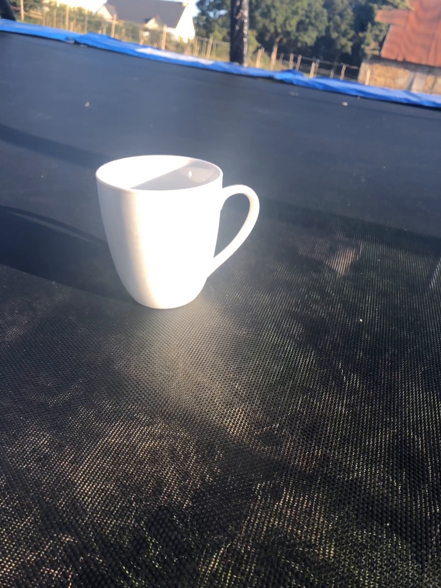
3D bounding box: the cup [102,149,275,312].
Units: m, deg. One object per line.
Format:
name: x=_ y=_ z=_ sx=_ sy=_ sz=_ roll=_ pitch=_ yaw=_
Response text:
cup: x=-0.031 y=-0.055 z=0.383 sx=0.110 sy=0.089 sz=0.100 roll=3 pitch=30 yaw=-2
